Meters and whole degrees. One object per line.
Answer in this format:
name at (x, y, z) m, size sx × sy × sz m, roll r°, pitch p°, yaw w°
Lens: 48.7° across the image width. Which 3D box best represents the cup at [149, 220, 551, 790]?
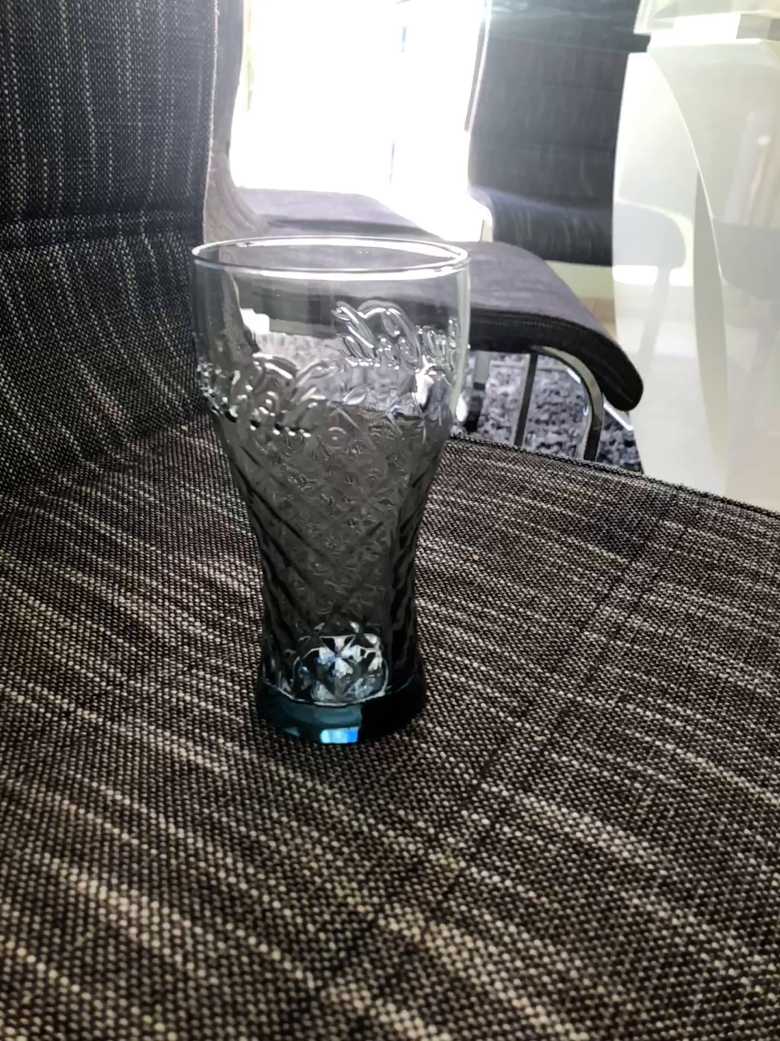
cup at (-0.014, -0.013, 0.255) m, size 0.080 × 0.139 × 0.080 m, roll 0°, pitch 21°, yaw 0°
